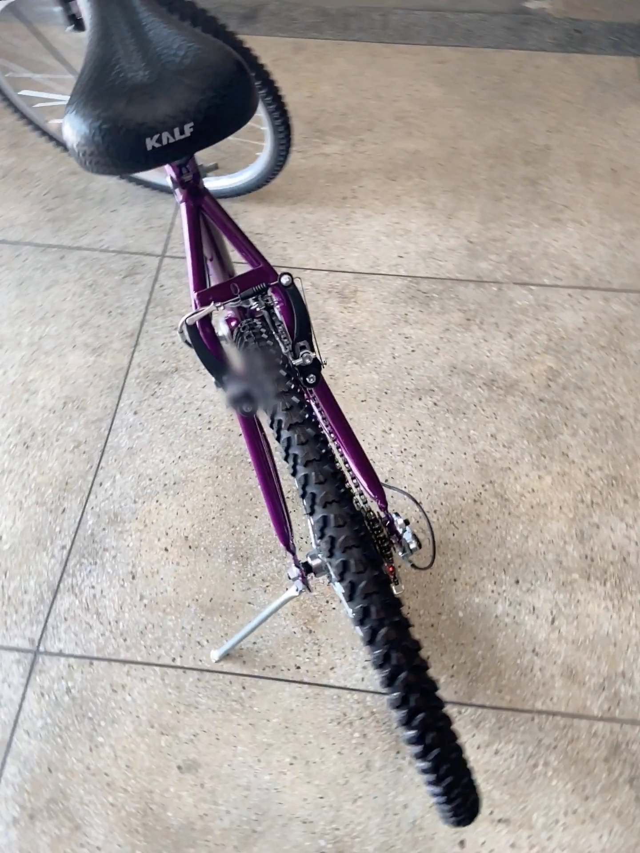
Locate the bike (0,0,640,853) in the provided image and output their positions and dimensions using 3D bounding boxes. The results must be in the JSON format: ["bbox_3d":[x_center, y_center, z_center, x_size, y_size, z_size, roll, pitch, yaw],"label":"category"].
[{"bbox_3d":[-0.253,-0.255,0.813,0.573,1.037,1.524,-30,65,-14],"label":"bike"}]
